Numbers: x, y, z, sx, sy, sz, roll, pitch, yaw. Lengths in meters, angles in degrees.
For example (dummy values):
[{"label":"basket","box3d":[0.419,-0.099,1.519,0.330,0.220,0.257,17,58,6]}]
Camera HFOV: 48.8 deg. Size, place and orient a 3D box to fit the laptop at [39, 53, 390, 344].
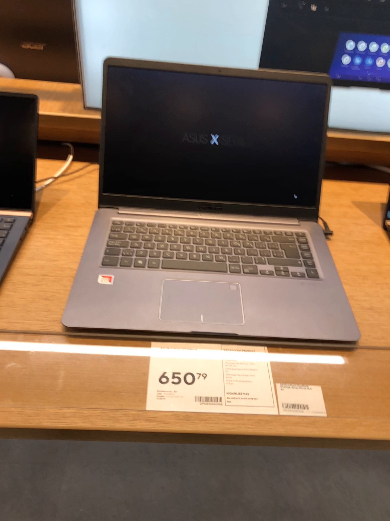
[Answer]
[{"label":"laptop","box3d":[0.032,-0.111,0.588,0.352,0.177,0.392,3,42,-3]}]
